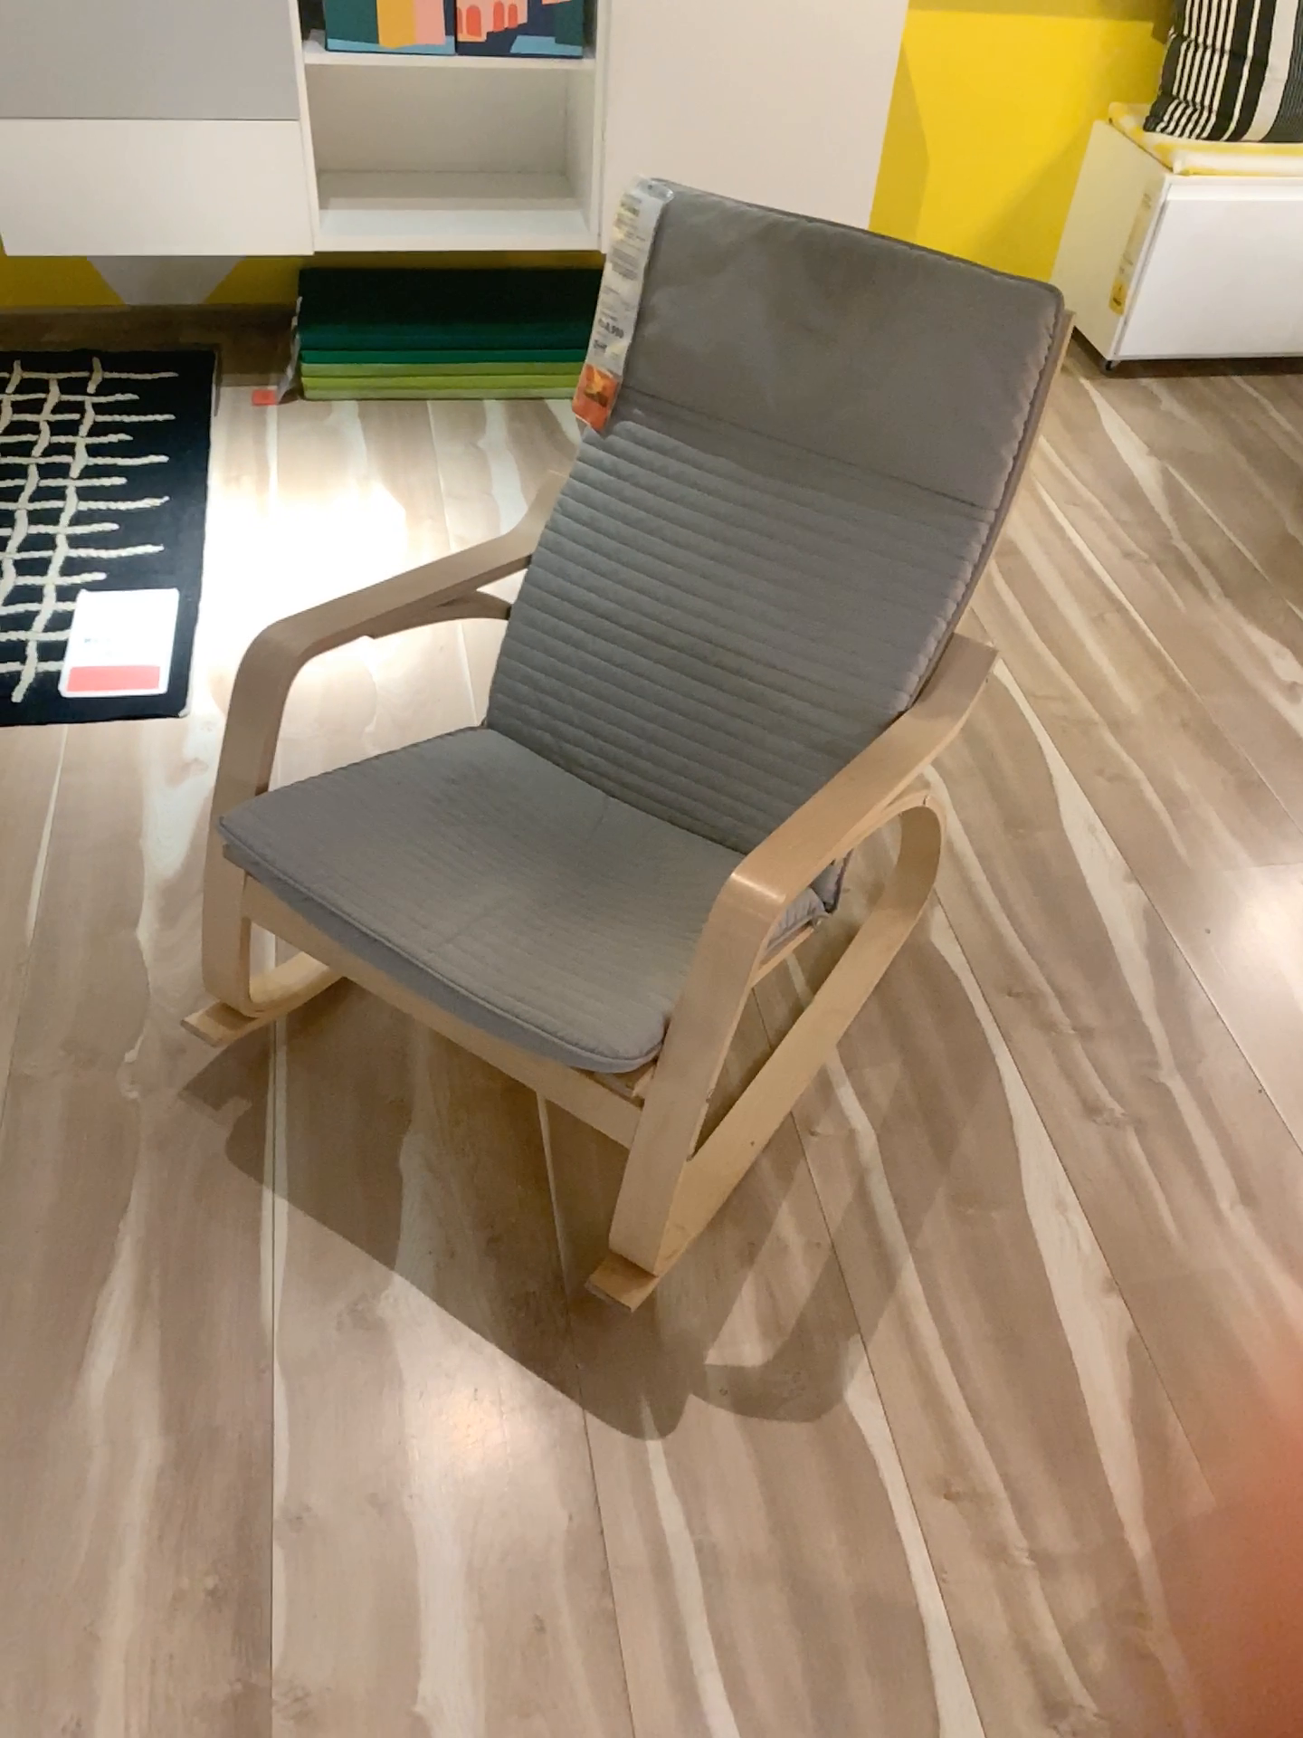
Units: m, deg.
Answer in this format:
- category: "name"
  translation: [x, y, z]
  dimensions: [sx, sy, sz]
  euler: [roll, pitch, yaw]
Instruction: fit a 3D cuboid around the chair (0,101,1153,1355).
- category: "chair"
  translation: [-0.074, -0.161, 1.444]
  dimensions: [0.731, 0.917, 0.722]
  euler: [27, 49, 20]
